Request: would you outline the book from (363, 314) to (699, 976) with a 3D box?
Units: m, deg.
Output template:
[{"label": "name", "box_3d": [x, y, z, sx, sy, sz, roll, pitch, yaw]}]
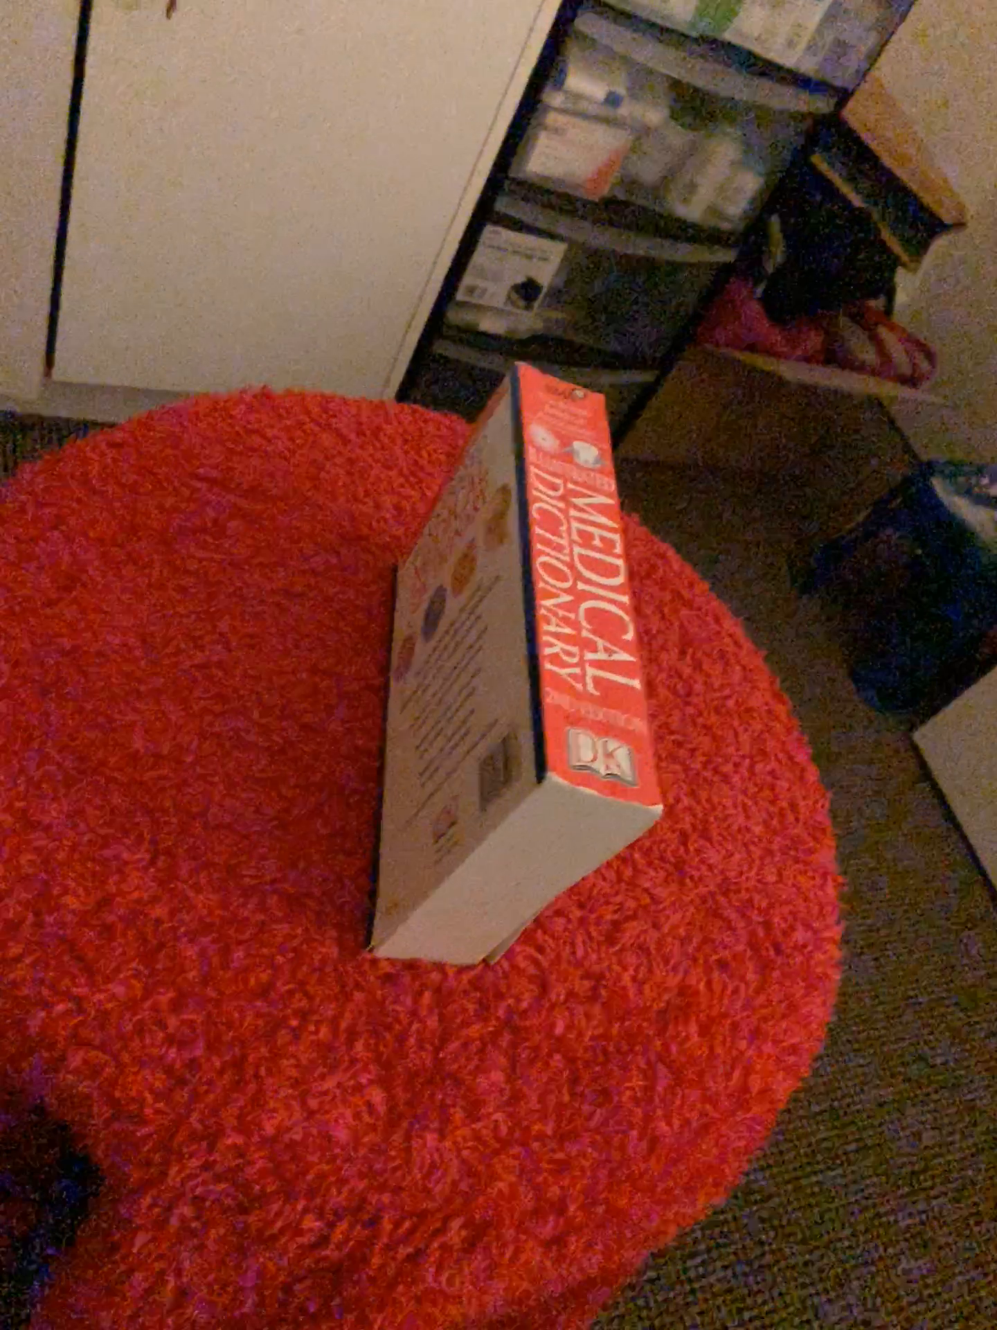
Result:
[{"label": "book", "box_3d": [0.002, -0.013, 0.400, 0.050, 0.129, 0.222, 18, 47, -23]}]
